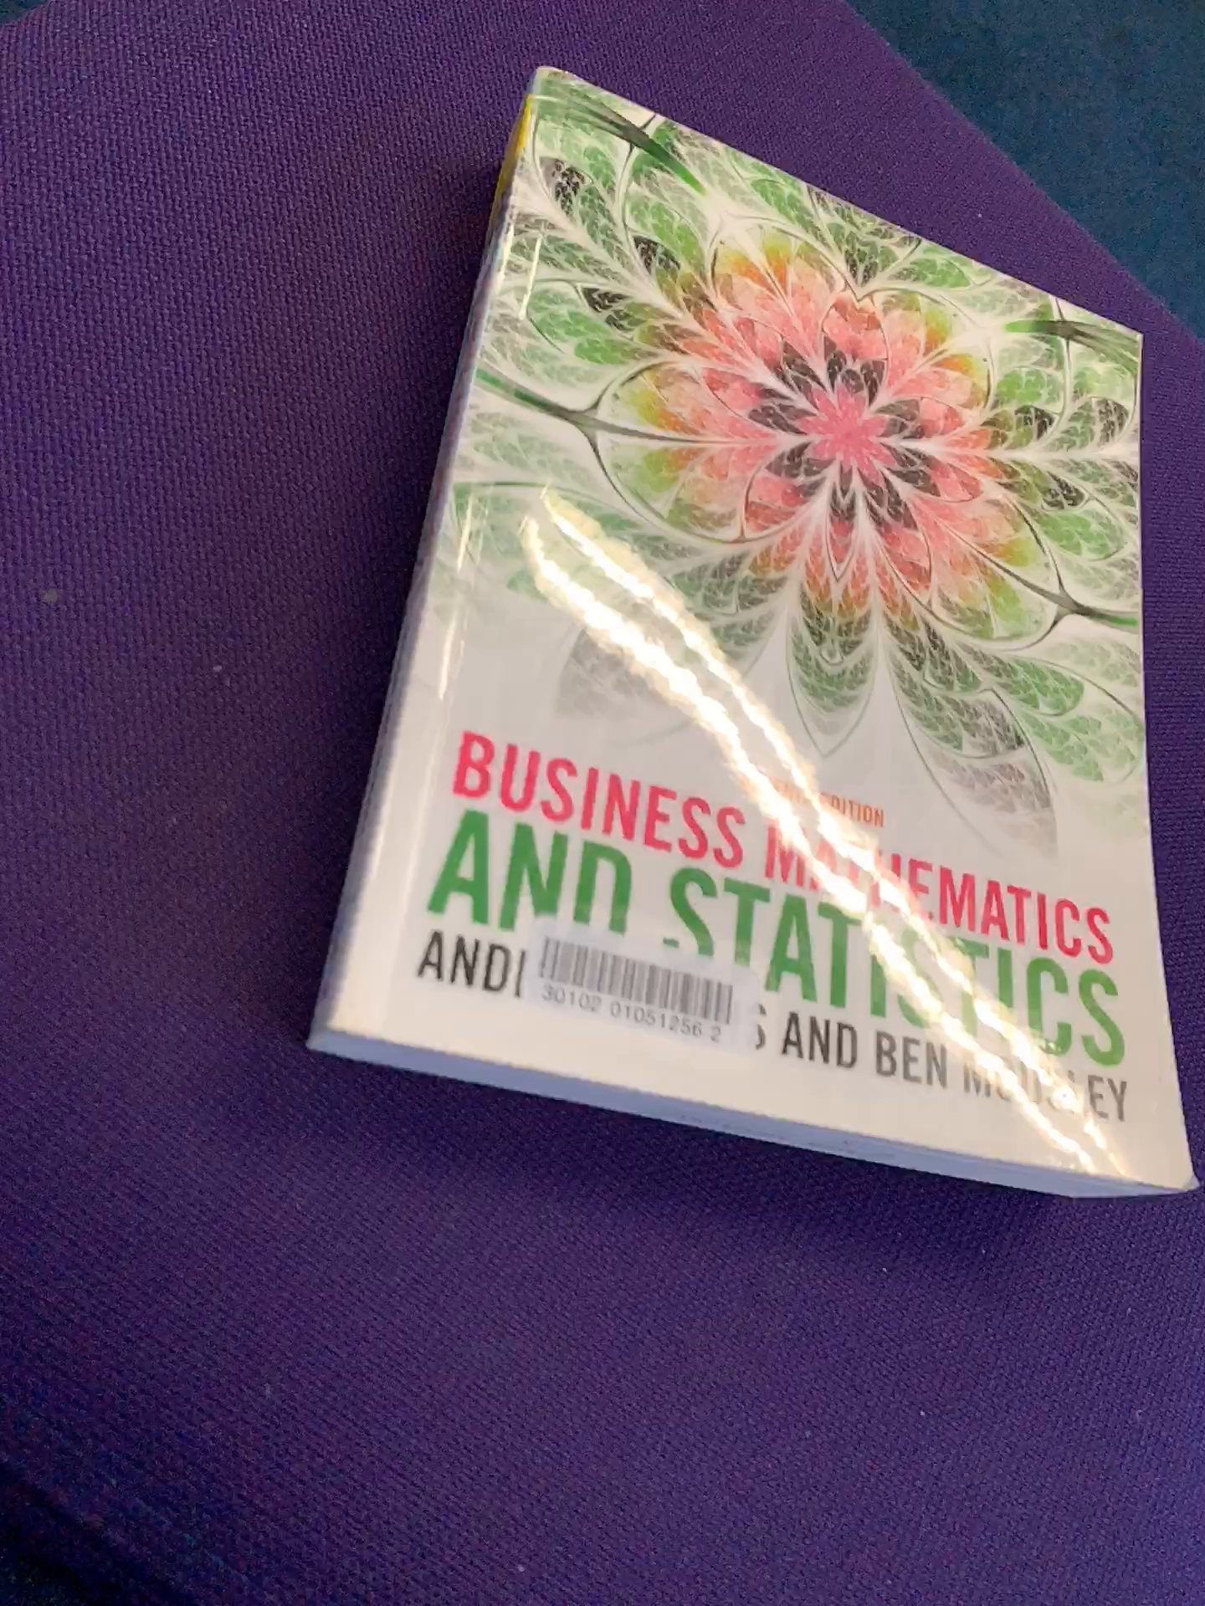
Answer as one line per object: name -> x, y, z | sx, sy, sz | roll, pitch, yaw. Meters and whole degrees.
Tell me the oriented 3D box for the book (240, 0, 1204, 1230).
book -> 0.049, -0.050, 0.298 | 0.200, 0.050, 0.261 | 16, 65, -18
